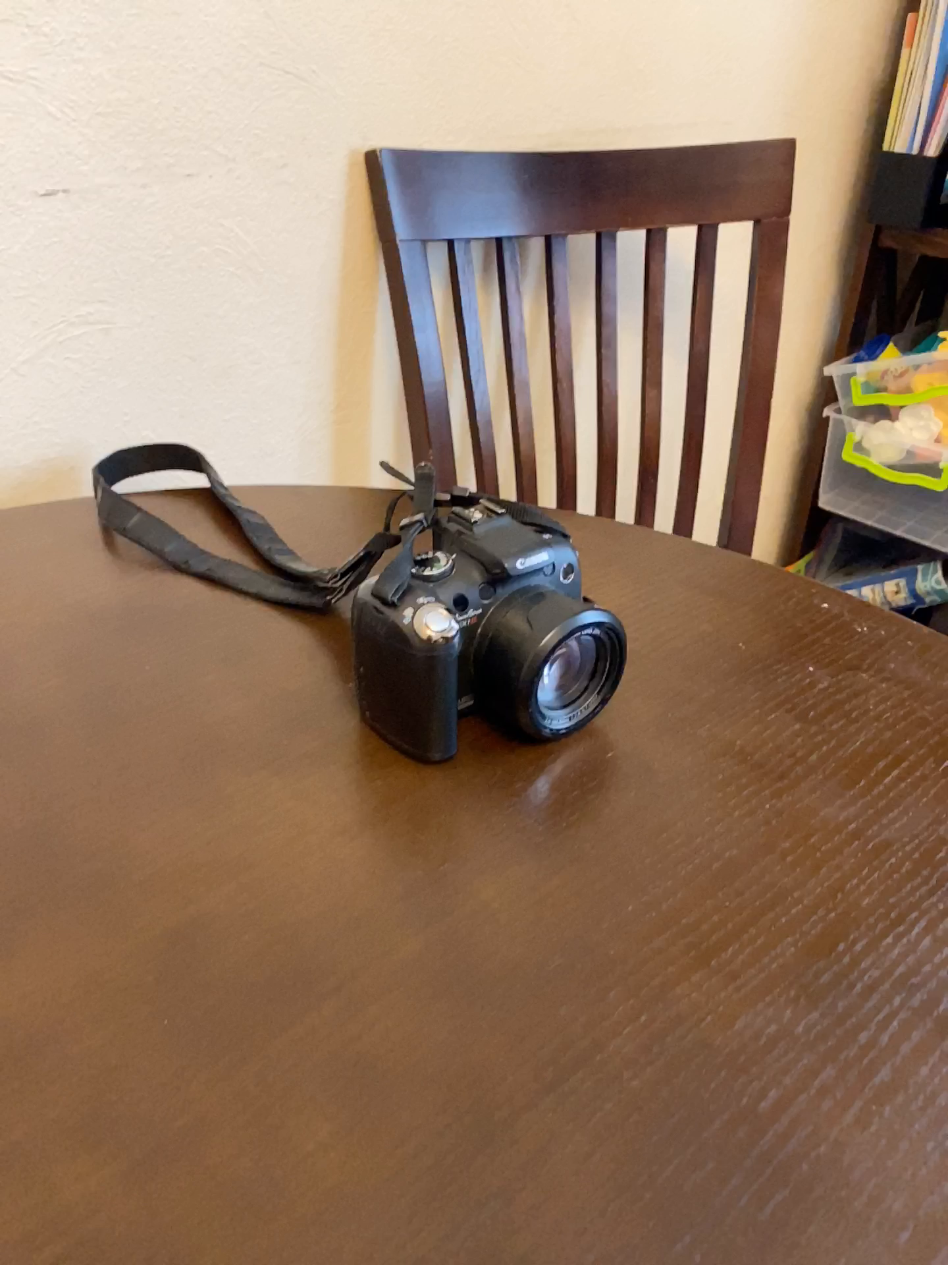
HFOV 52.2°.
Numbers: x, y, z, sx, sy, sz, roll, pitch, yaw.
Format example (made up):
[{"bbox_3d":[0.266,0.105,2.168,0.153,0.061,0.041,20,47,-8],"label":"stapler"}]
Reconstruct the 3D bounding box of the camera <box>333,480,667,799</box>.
[{"bbox_3d":[0.010,-0.003,0.448,0.123,0.088,0.082,-20,38,-32],"label":"camera"}]
